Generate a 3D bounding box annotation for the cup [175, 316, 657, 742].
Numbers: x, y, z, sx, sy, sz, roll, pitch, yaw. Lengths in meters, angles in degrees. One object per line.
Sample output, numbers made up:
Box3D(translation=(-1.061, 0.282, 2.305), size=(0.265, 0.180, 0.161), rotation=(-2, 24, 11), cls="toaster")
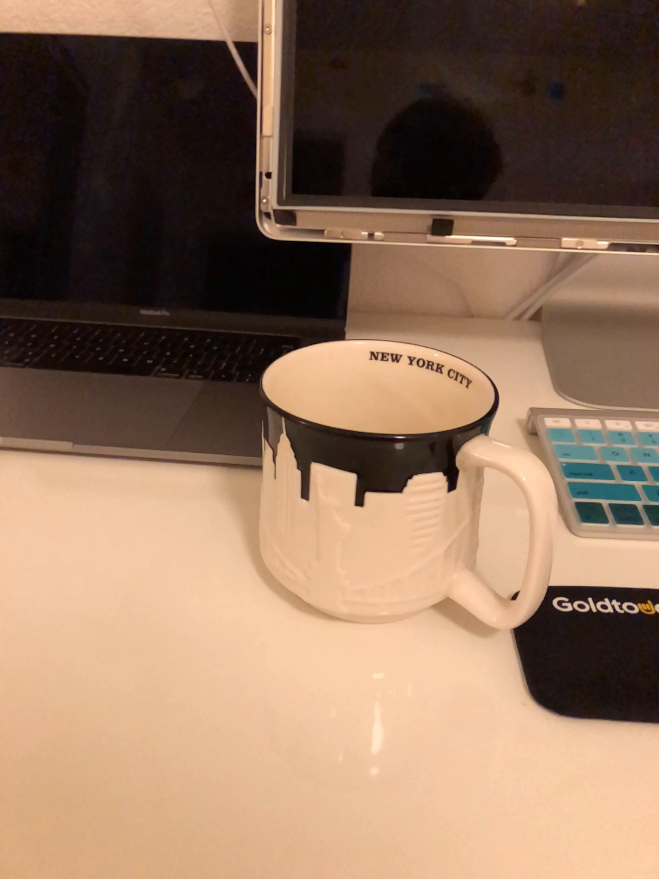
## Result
Box3D(translation=(0.032, 0.021, 0.315), size=(0.160, 0.089, 0.110), rotation=(22, 34, 33), cls="cup")
